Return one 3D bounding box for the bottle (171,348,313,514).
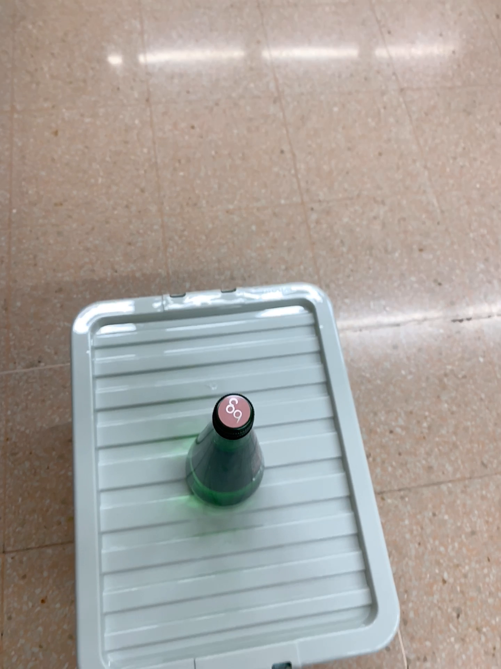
[{"bbox_3d":[-0.018,0.109,0.491,0.085,0.288,0.090,2,68,-4],"label":"bottle"}]
